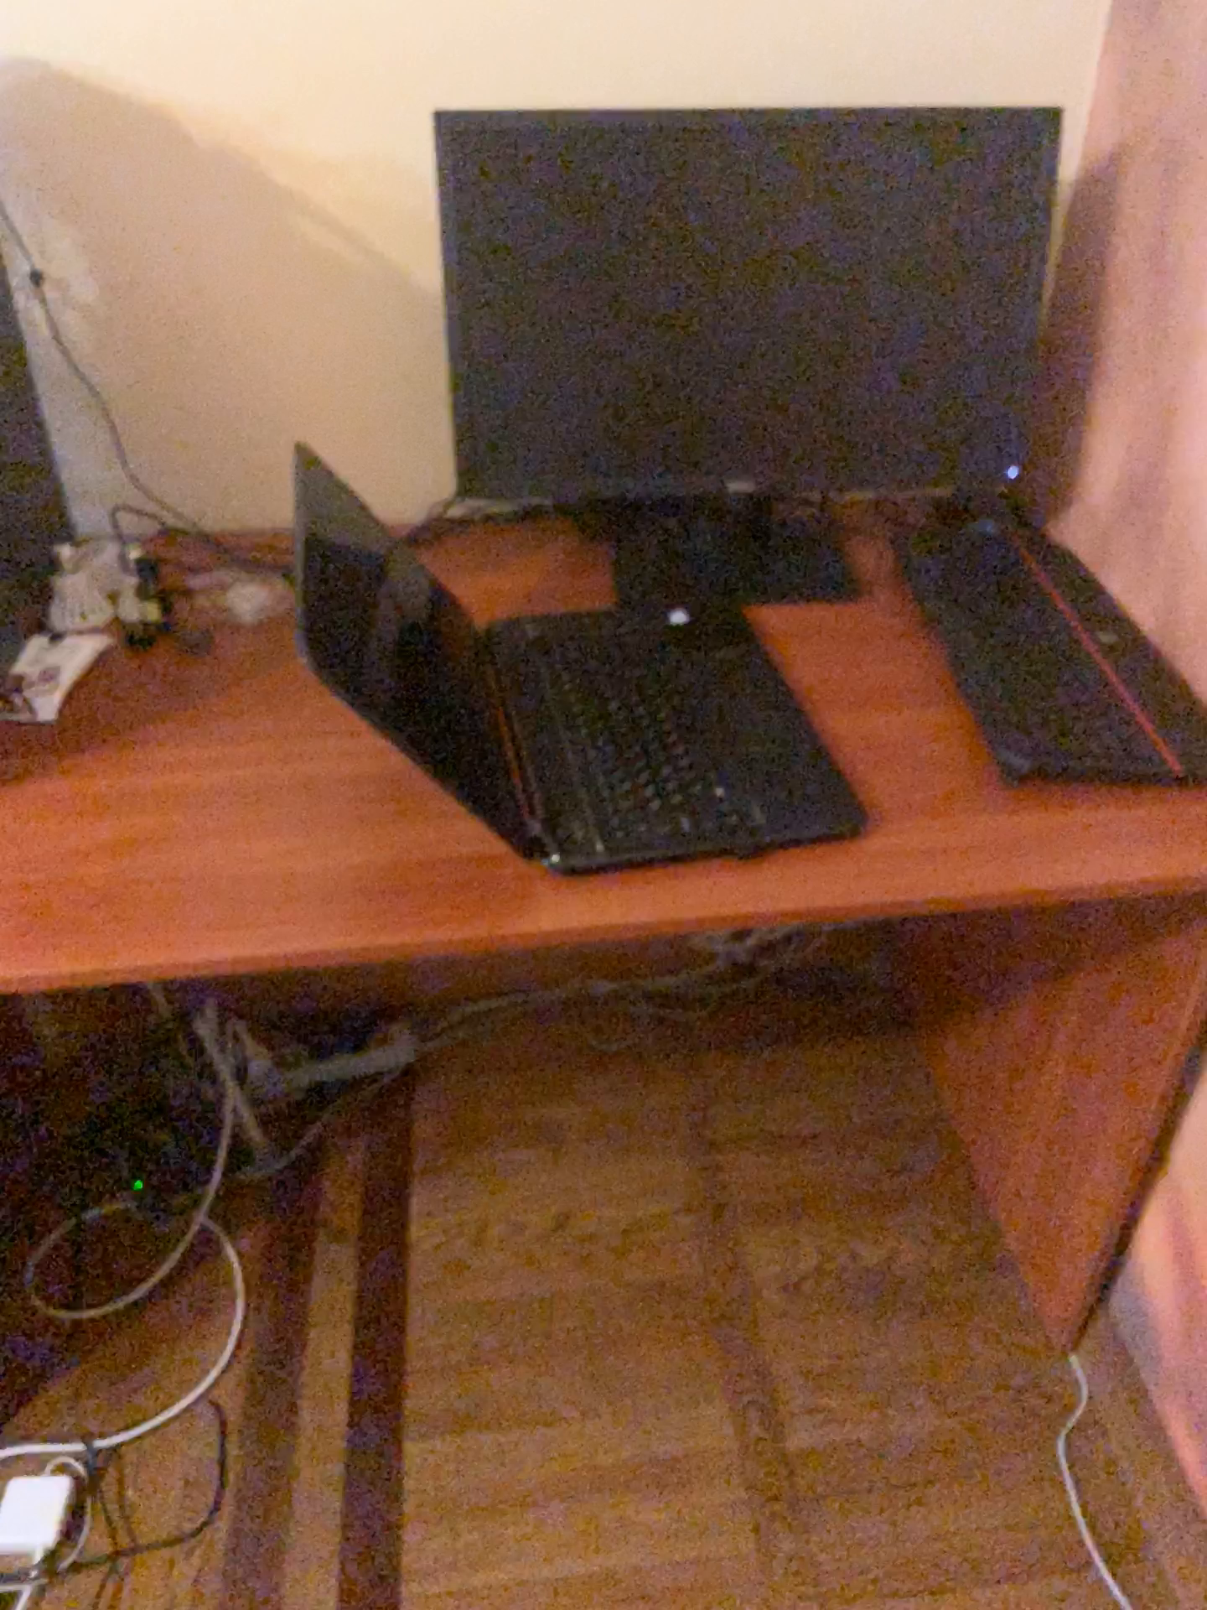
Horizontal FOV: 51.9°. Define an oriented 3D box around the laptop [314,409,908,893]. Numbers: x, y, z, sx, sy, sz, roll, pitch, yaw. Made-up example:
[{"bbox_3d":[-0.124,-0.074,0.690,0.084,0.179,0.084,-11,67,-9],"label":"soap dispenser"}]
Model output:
[{"bbox_3d":[-0.024,-0.142,0.964,0.368,0.181,0.368,-8,37,-8],"label":"laptop"}]
